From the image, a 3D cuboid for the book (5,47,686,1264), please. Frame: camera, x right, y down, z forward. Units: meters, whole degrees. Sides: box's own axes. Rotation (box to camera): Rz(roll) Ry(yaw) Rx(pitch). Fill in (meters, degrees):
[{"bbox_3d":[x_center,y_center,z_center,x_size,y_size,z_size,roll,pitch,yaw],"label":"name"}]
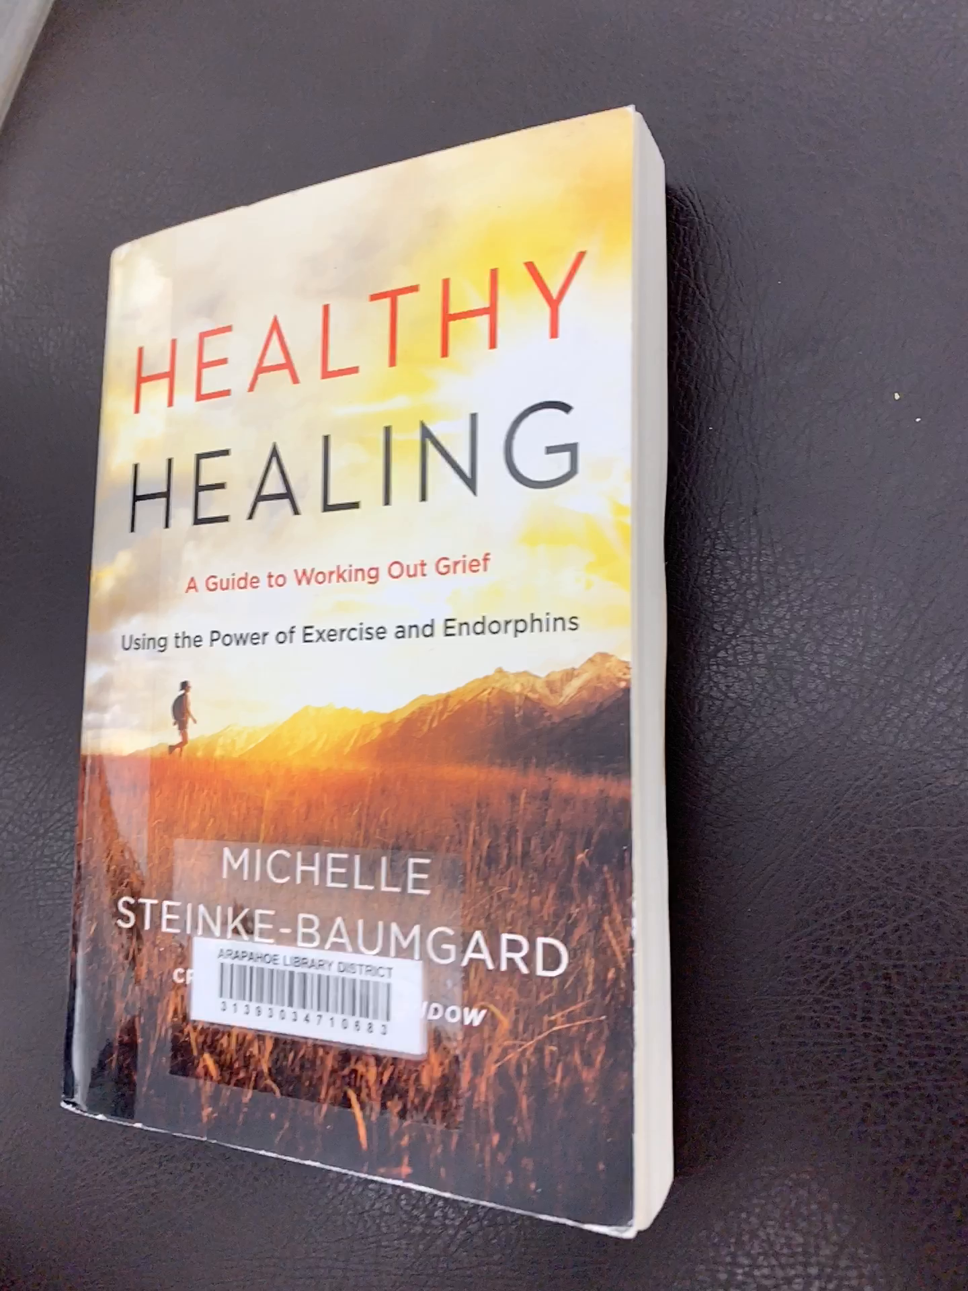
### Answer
[{"bbox_3d":[-0.030,-0.003,0.214,0.140,0.027,0.212,-2,82,23],"label":"book"}]
